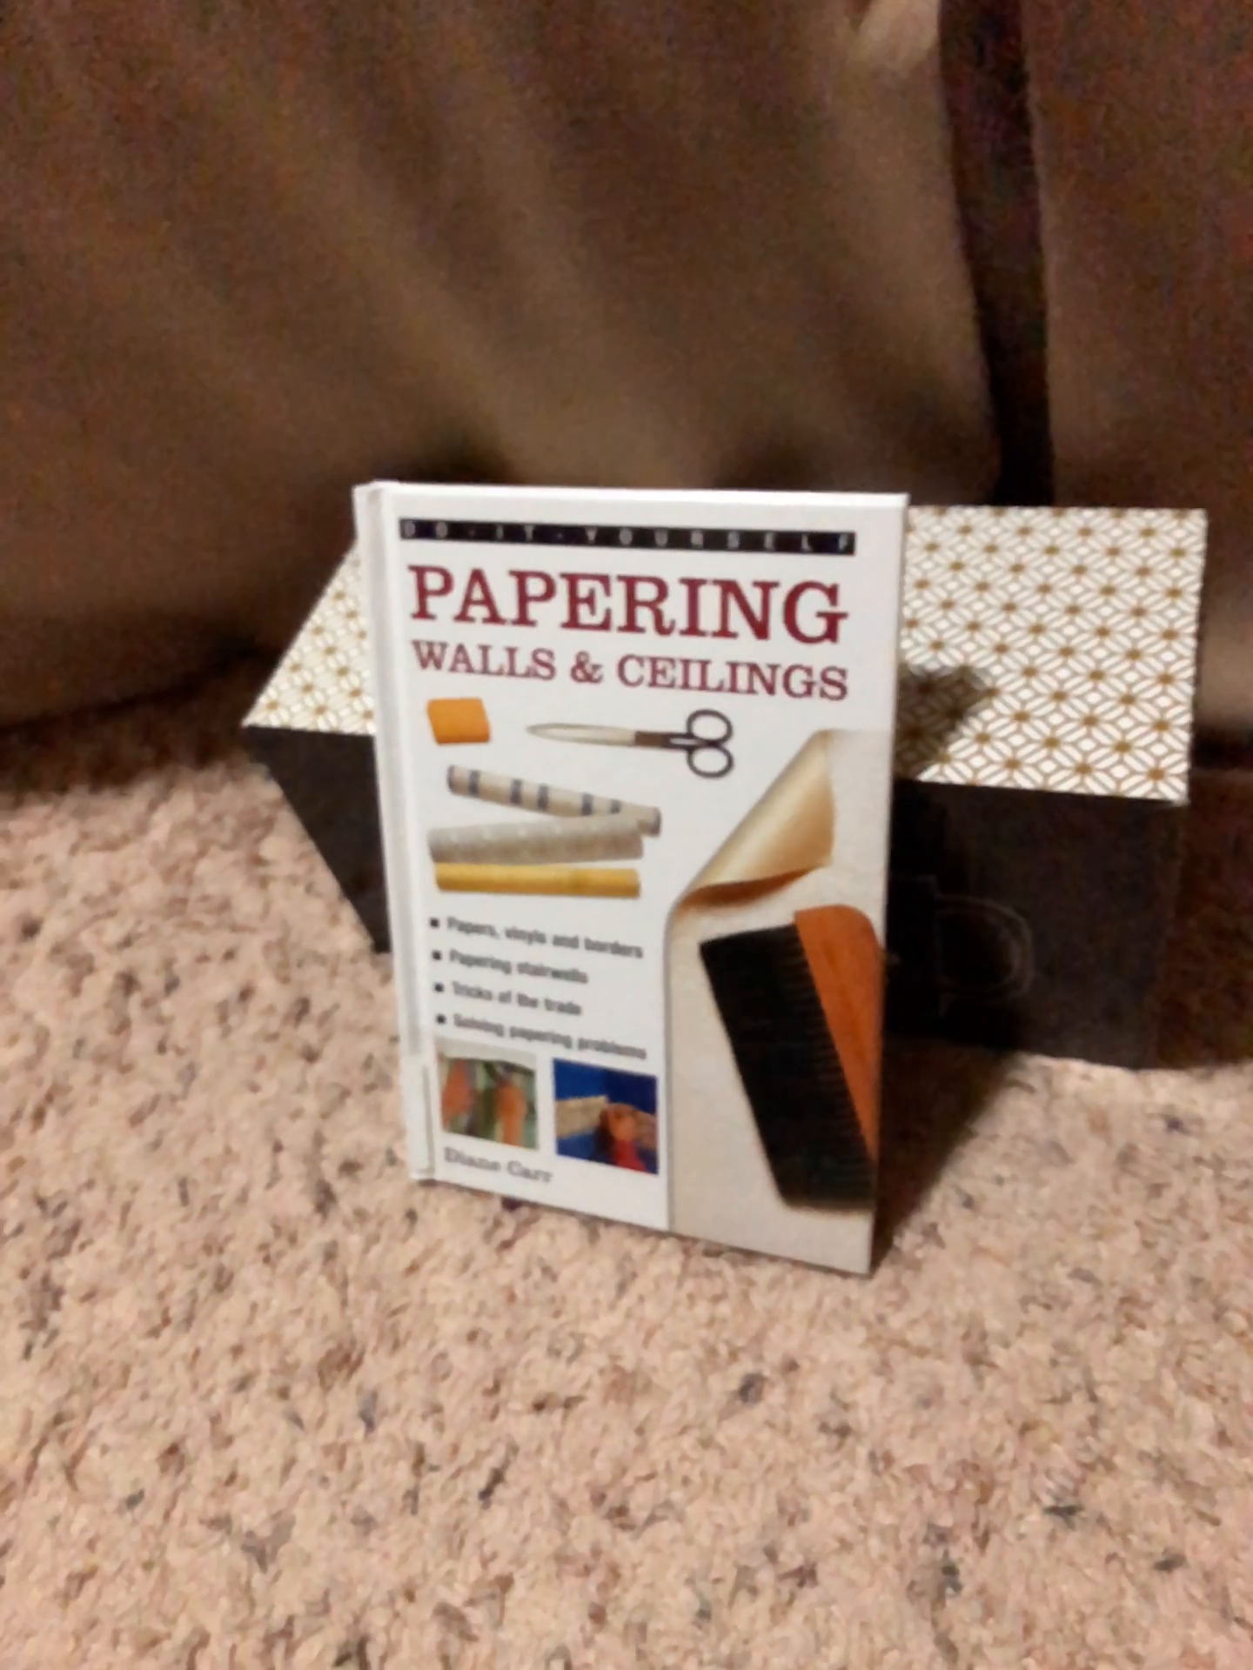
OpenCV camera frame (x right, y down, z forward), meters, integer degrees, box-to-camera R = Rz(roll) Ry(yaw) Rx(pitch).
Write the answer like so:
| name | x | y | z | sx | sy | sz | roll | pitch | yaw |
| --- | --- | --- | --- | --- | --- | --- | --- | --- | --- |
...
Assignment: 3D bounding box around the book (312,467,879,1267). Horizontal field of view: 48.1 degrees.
| name | x | y | z | sx | sy | sz | roll | pitch | yaw |
| --- | --- | --- | --- | --- | --- | --- | --- | --- | --- |
| book | -0.009 | 0.010 | 0.375 | 0.143 | 0.207 | 0.015 | 6 | 21 | 21 |
